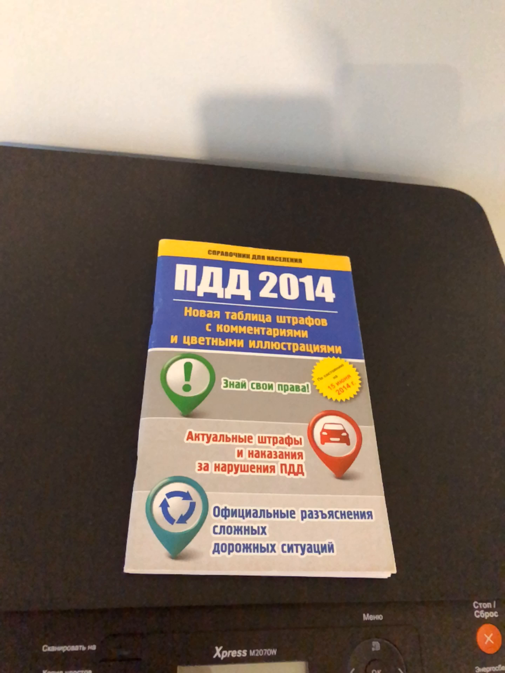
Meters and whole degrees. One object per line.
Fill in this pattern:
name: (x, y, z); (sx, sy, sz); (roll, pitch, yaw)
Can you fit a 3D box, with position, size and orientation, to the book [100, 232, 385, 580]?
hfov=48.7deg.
book: (-0.005, 0.026, 0.310); (0.130, 0.010, 0.201); (4, 57, -8)
